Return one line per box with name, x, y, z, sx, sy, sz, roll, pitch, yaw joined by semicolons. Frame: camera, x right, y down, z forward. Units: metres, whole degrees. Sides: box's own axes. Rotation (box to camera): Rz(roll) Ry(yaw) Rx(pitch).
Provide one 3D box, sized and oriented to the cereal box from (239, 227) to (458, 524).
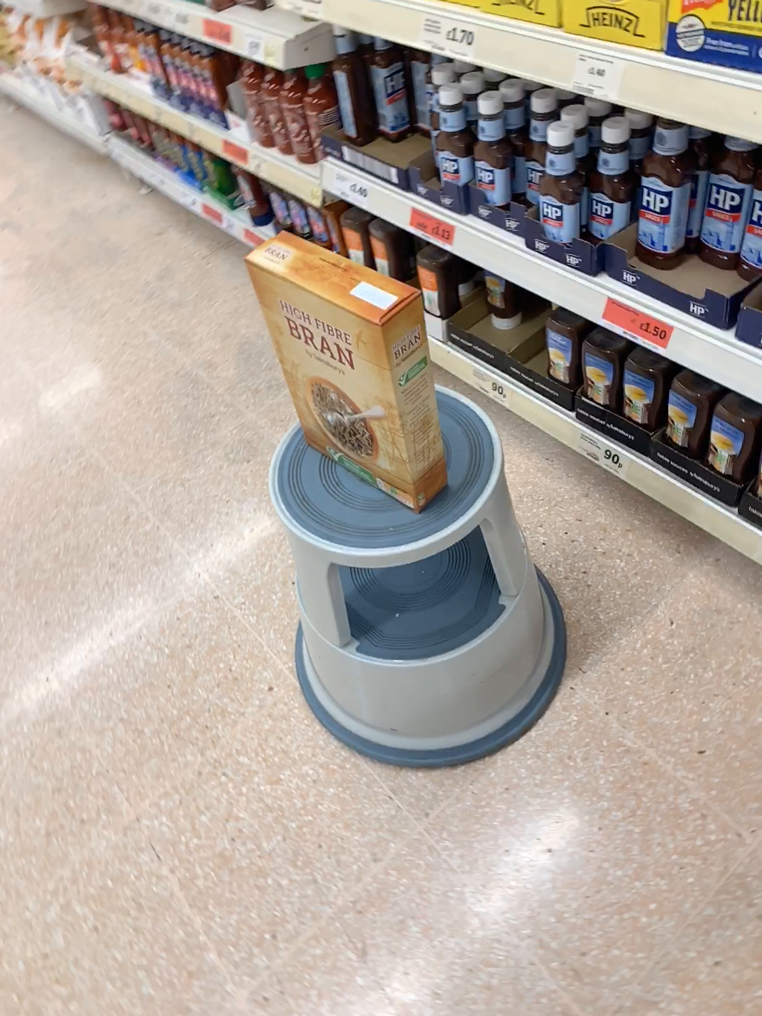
cereal box;-0.026;-0.135;0.831;0.201;0.278;0.060;33;64;33
